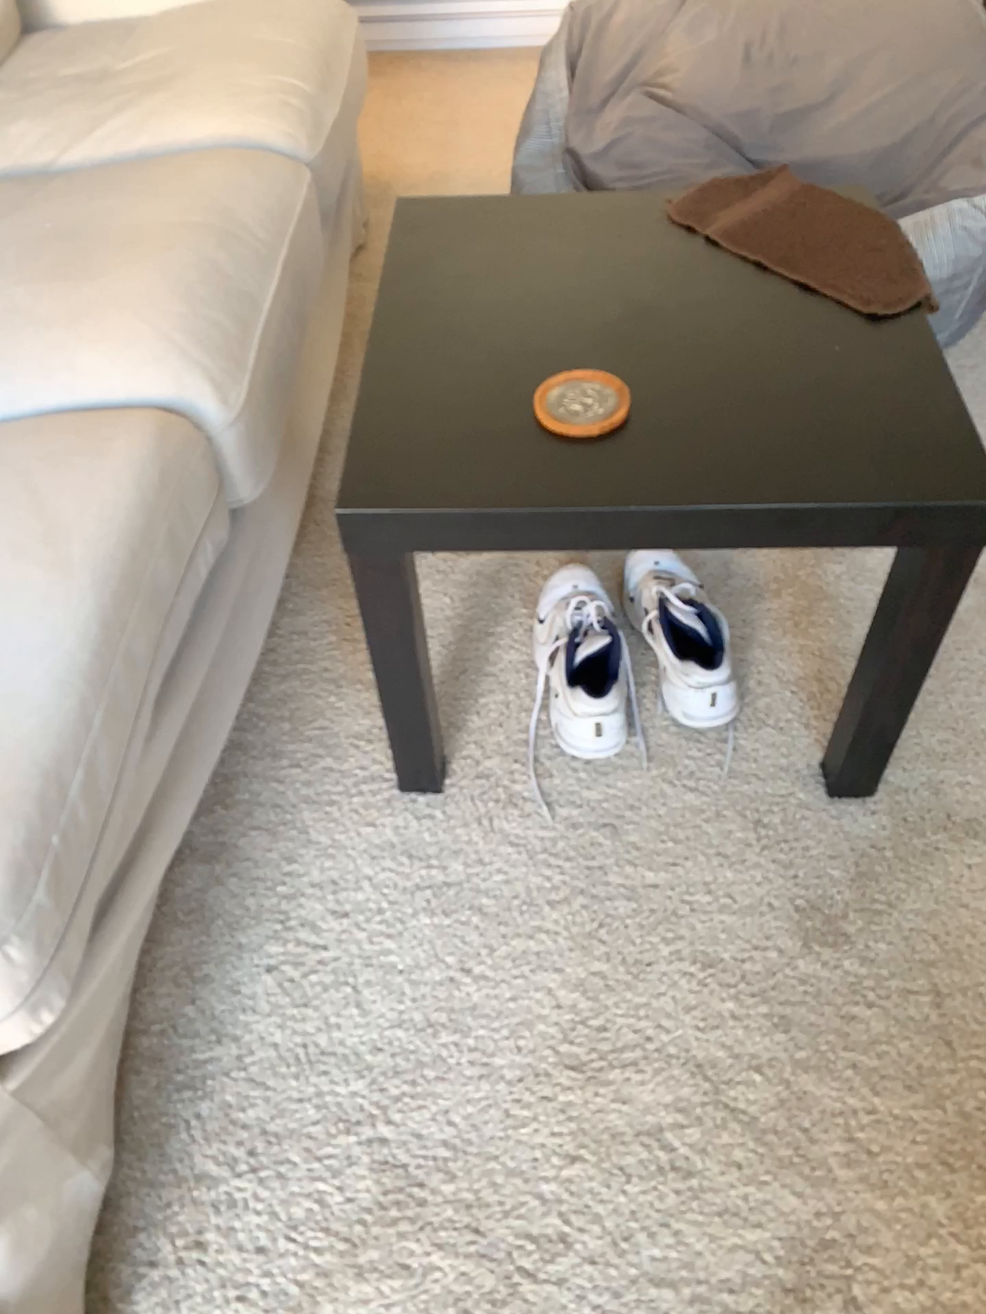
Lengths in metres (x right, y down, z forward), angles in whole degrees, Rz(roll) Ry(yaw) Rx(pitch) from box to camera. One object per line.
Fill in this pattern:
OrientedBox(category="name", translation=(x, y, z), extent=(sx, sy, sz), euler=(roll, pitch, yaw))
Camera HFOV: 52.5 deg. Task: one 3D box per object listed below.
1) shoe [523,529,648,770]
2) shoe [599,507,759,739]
OrientedBox(category="shoe", translation=(0.105, -0.016, 1.216), extent=(0.110, 0.100, 0.291), euler=(-5, 50, -1))
OrientedBox(category="shoe", translation=(0.227, -0.051, 1.273), extent=(0.110, 0.100, 0.292), euler=(-10, 50, -5))
